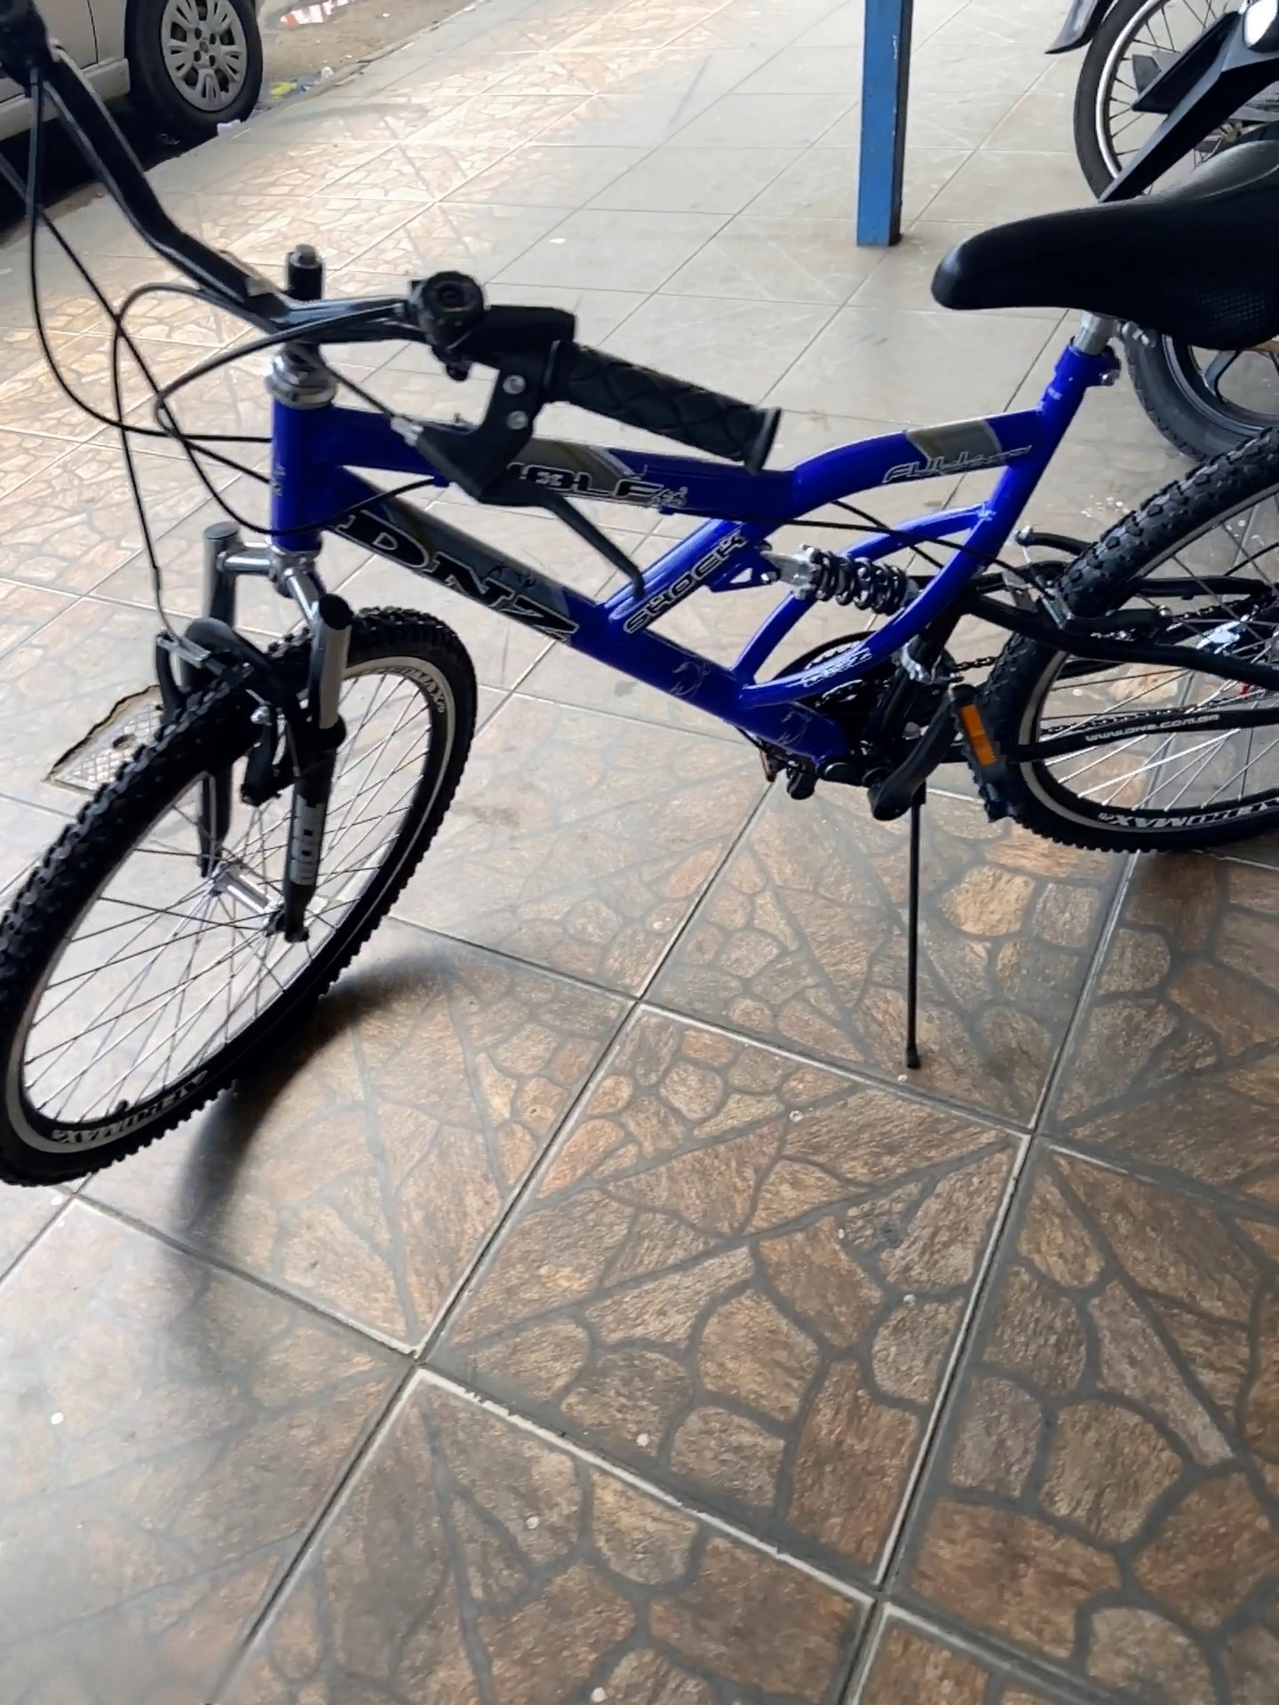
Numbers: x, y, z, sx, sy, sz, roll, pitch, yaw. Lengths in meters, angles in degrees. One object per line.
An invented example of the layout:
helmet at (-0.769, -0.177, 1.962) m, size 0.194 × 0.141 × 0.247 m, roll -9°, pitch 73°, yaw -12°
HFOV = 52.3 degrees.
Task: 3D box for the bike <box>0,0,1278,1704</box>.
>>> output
bike at (0.213, -0.011, 1.012) m, size 1.611 × 1.019 × 0.517 m, roll -18°, pitch 46°, yaw -7°
